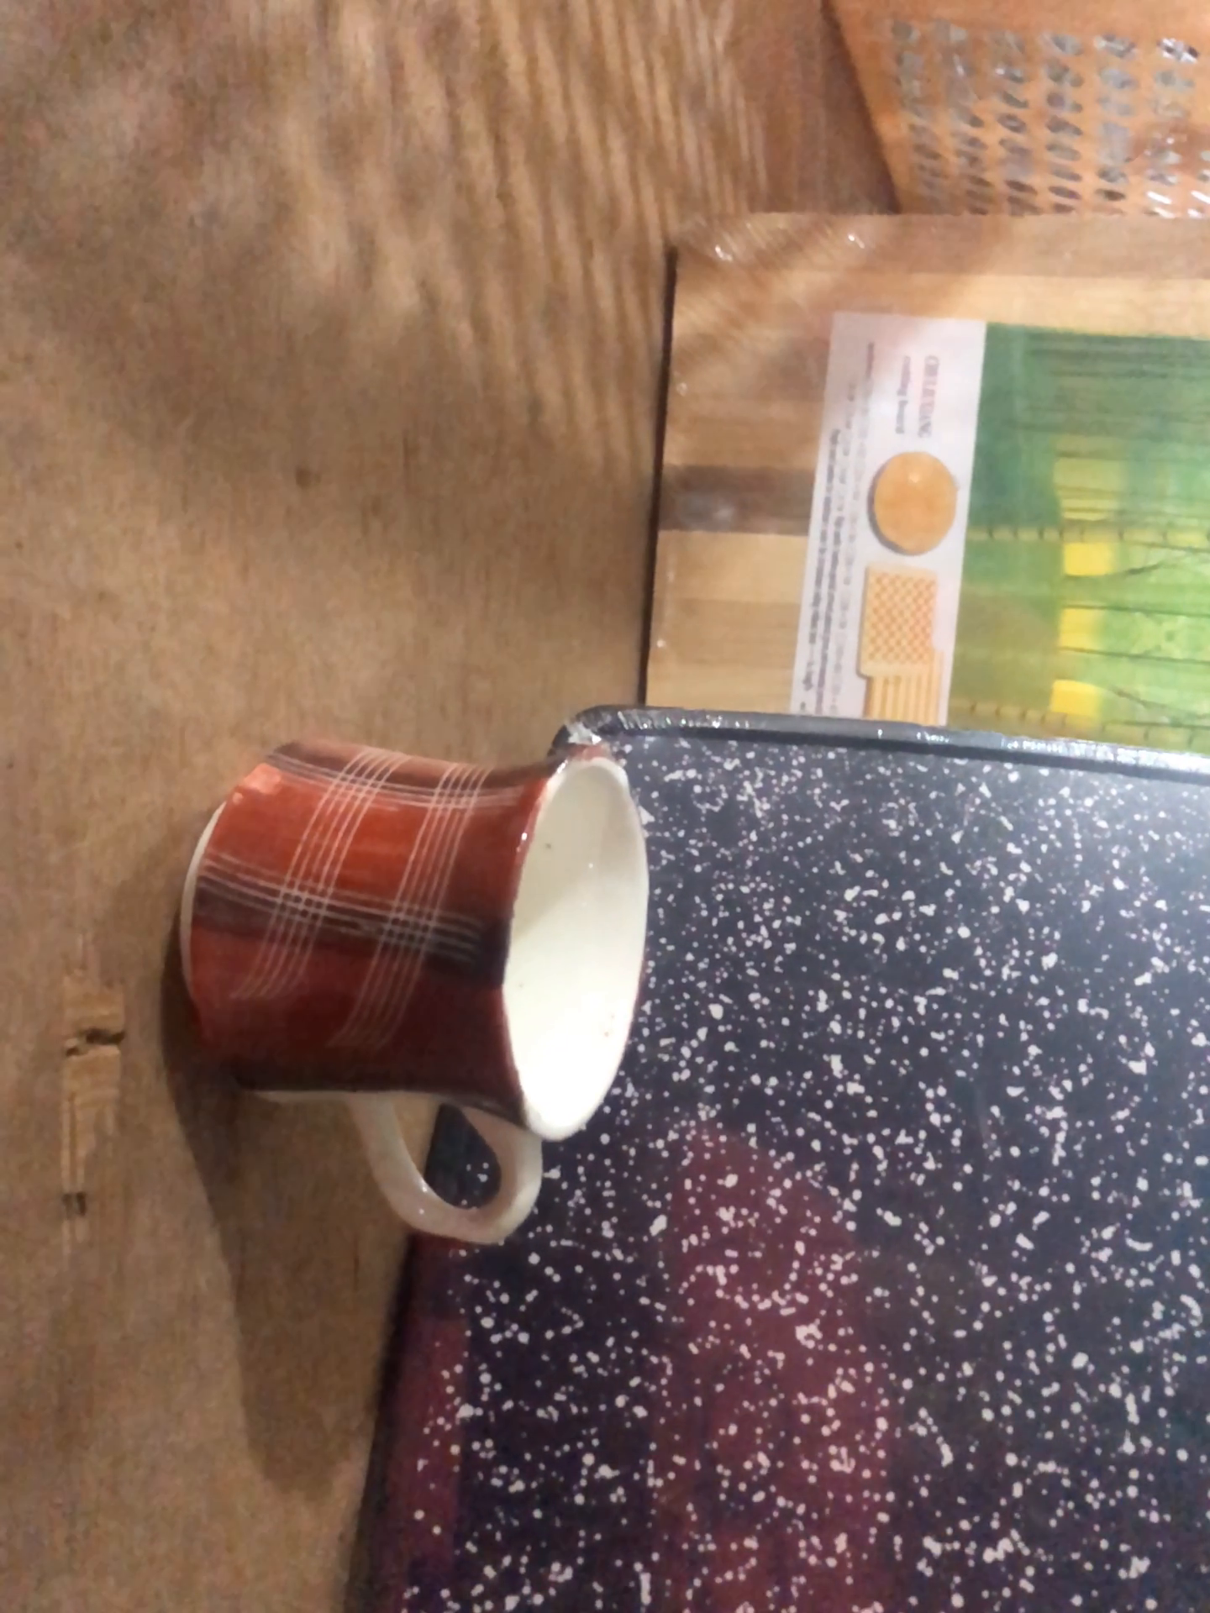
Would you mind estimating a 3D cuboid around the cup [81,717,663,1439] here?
[{"bbox_3d":[-0.031,0.035,0.212,0.060,0.060,0.090,-32,121,-65],"label":"cup"}]
